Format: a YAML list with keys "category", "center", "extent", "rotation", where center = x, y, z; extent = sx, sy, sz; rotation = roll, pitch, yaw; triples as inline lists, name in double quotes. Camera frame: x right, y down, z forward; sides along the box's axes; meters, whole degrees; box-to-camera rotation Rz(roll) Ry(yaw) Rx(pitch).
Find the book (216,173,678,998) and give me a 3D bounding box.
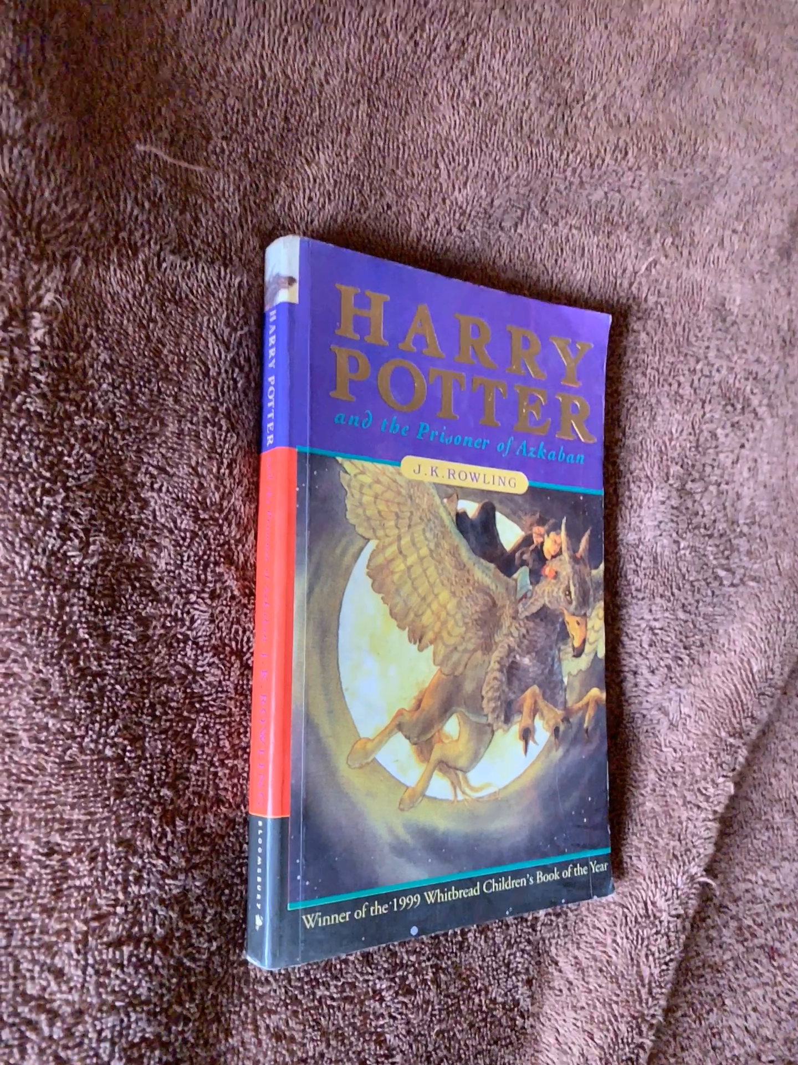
- category: "book"
  center: [0.020, 0.012, 0.223]
  extent: [0.130, 0.020, 0.180]
  rotation: [4, 83, -31]
